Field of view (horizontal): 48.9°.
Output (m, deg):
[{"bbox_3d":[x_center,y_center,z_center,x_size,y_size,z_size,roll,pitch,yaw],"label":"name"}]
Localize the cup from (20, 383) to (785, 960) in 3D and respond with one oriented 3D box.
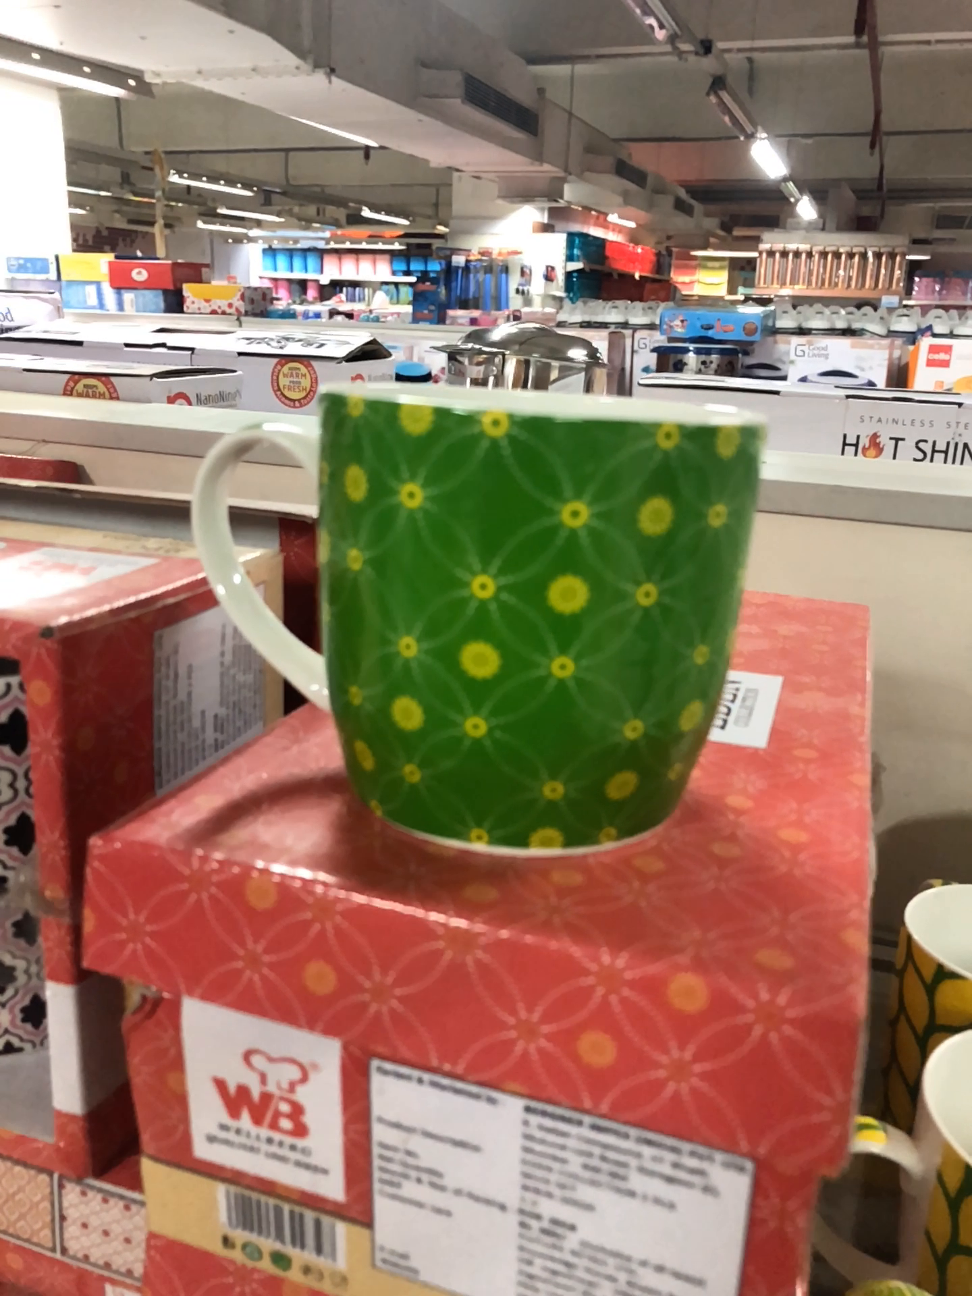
[{"bbox_3d":[-0.009,-0.009,0.215,0.120,0.080,0.090,7,16,18],"label":"cup"}]
